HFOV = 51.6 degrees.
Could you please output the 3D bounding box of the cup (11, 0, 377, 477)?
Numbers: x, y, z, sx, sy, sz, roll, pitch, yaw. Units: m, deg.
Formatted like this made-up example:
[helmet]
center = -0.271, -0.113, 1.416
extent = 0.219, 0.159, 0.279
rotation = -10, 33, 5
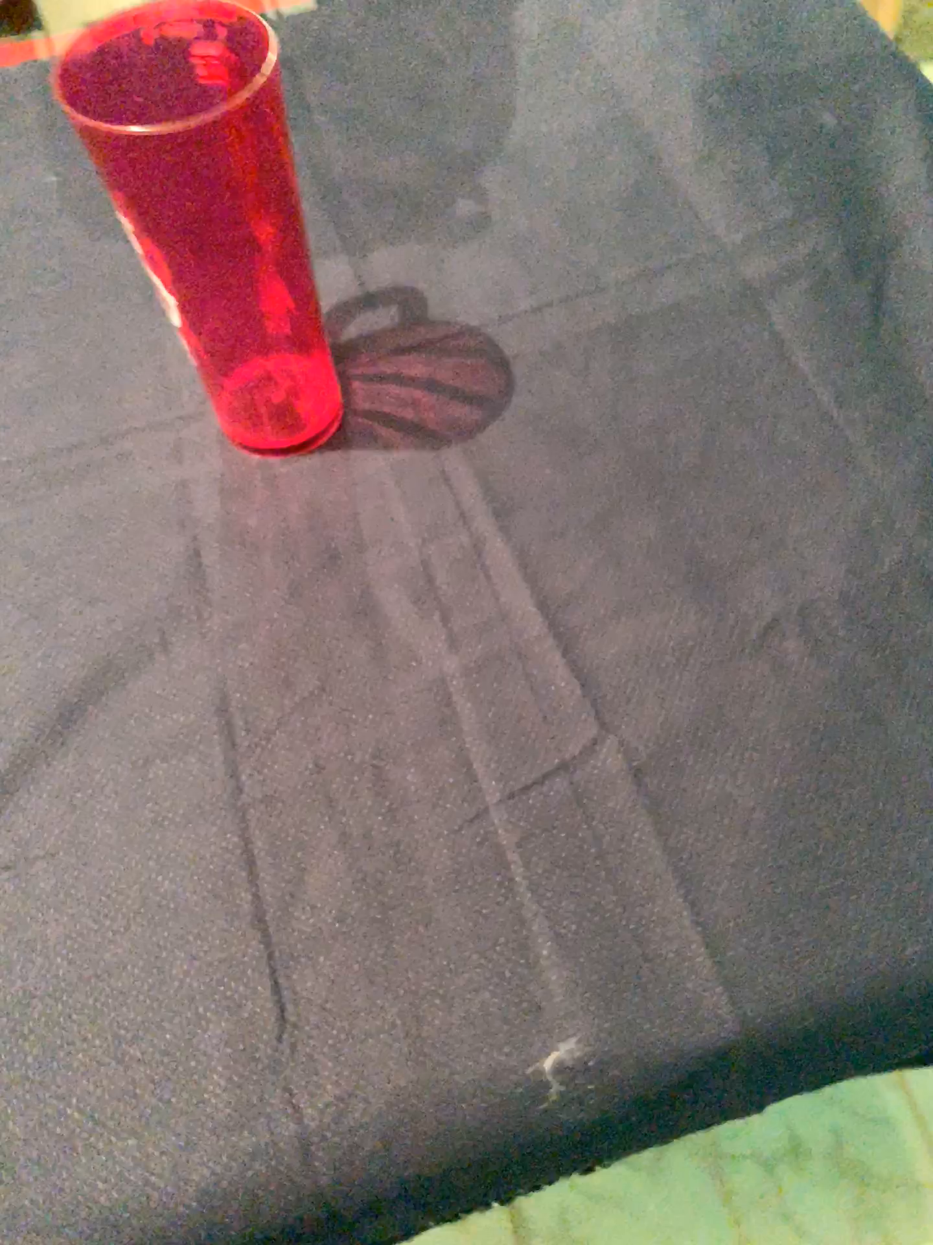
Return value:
[cup]
center = -0.089, -0.150, 0.378
extent = 0.070, 0.170, 0.100
rotation = 4, 62, 6
